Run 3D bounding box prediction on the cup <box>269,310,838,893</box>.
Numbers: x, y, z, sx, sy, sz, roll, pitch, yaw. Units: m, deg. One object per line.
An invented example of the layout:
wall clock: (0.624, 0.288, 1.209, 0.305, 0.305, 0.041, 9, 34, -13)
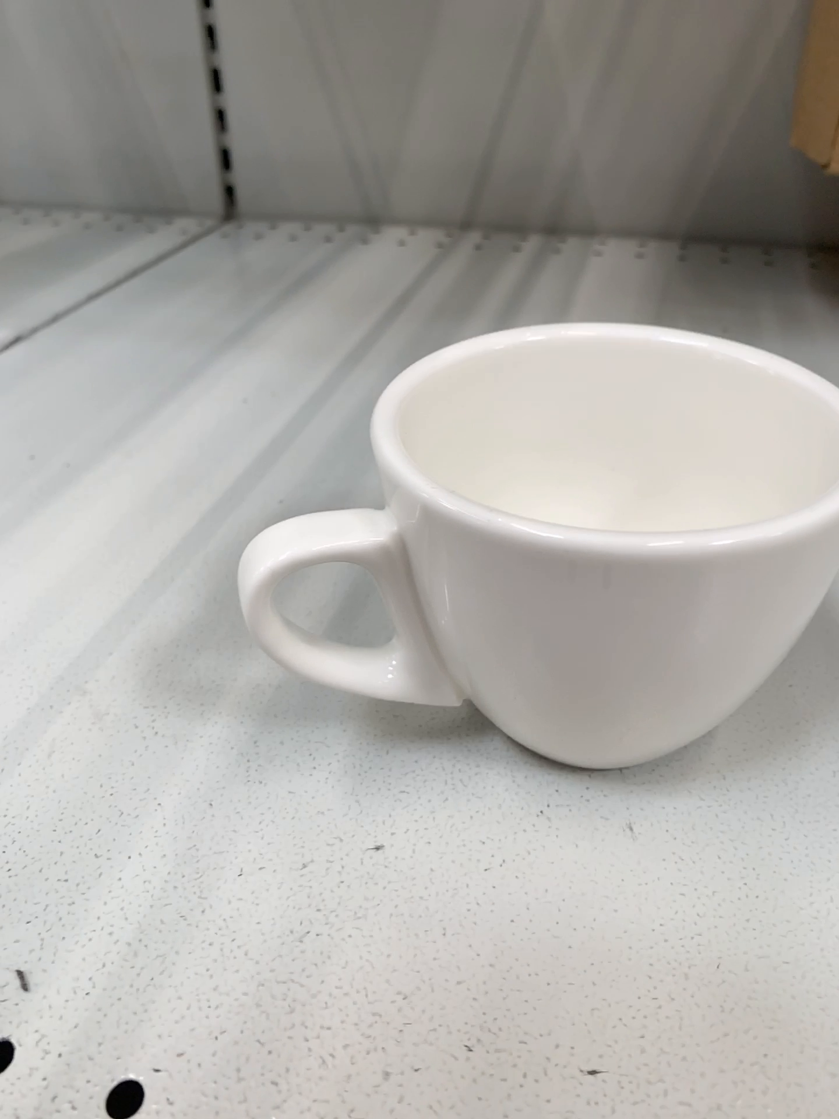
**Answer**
cup: (0.038, -0.001, 0.198, 0.128, 0.072, 0.097, -8, 34, -10)
